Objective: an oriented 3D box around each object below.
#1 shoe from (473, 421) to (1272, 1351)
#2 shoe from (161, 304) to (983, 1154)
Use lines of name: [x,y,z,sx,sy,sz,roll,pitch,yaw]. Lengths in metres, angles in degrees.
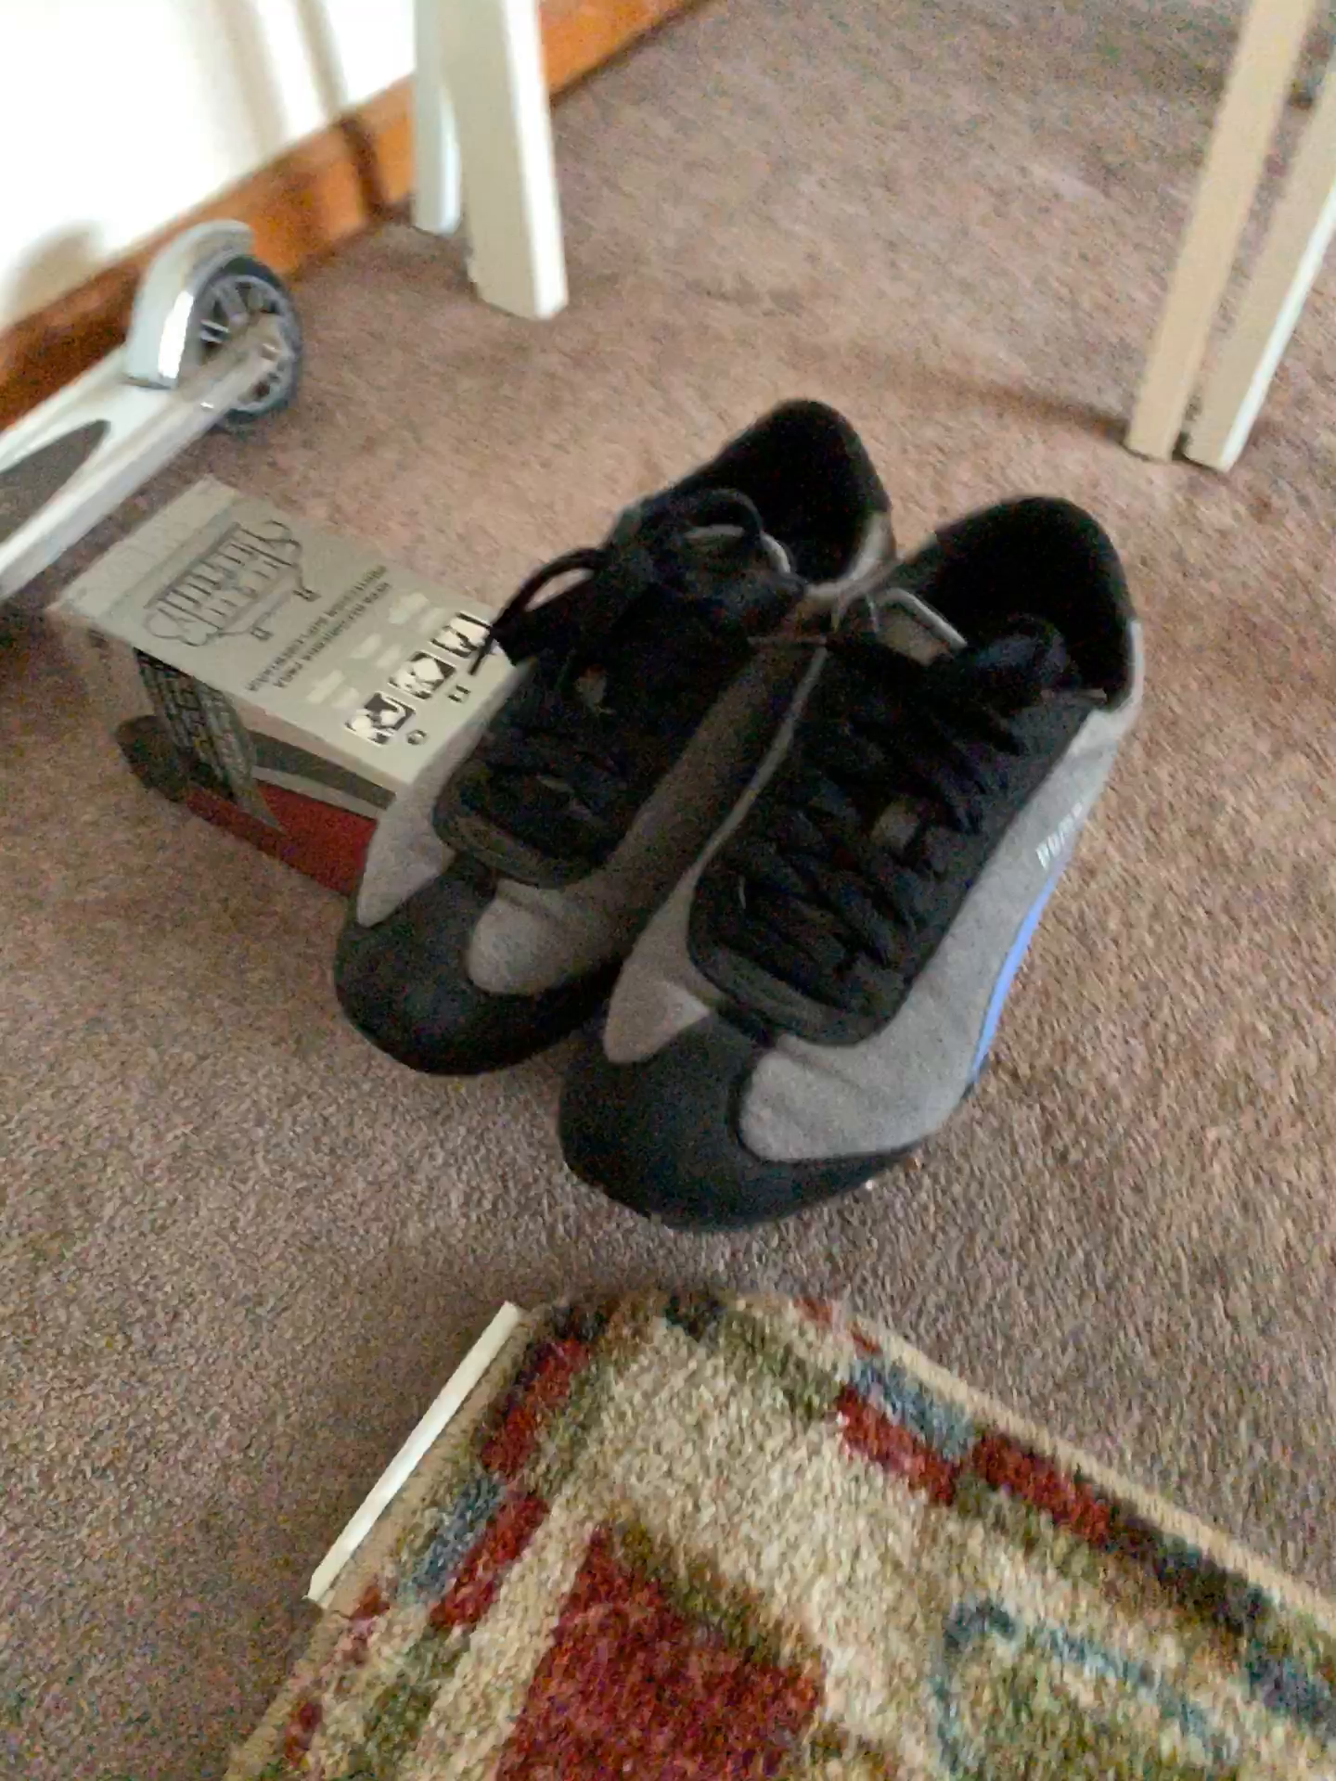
shoe: [0.068,-0.017,0.387,0.100,0.077,0.252,25,60,23]
shoe: [-0.014,-0.060,0.412,0.110,0.077,0.241,27,63,18]
